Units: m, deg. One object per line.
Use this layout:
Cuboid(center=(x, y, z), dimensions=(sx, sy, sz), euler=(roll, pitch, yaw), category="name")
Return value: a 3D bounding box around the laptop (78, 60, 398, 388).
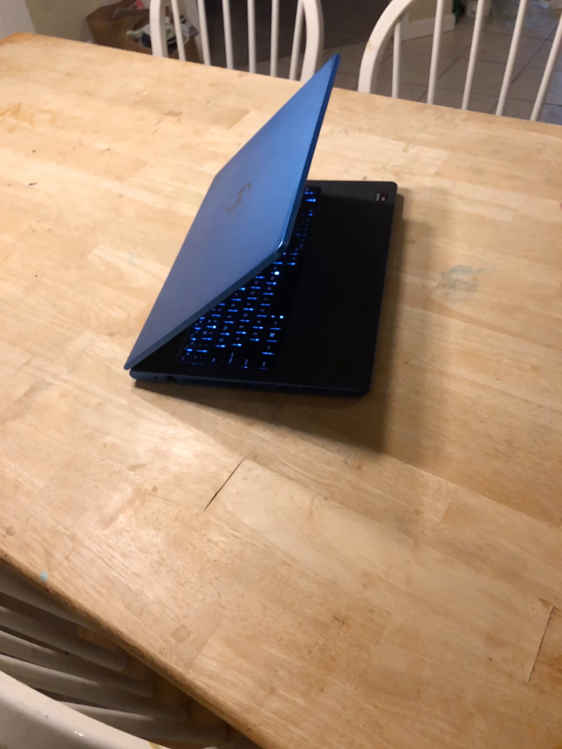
Cuboid(center=(-0.010, -0.184, 0.681), dimensions=(0.248, 0.160, 0.363), euler=(4, 49, 10), category="laptop")
